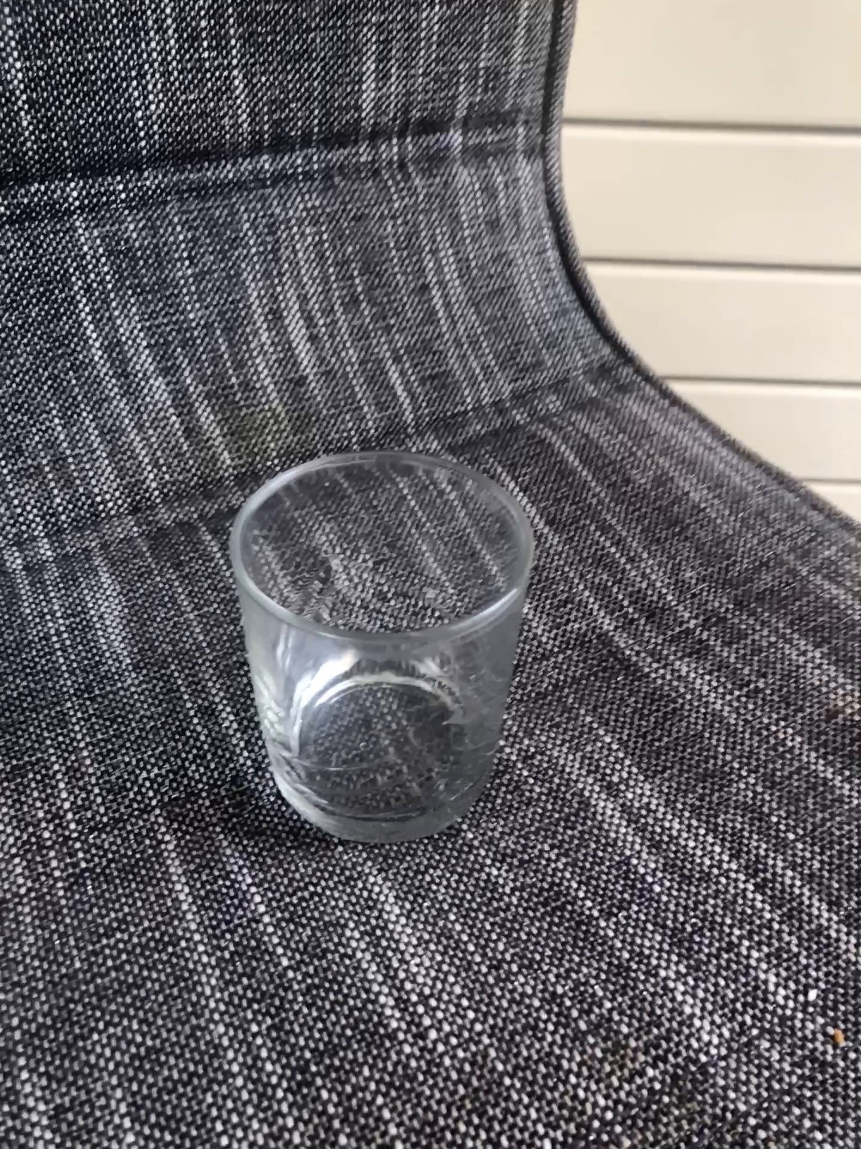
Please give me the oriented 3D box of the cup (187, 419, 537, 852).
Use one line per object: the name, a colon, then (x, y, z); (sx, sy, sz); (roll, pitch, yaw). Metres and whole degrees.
cup: (-0.013, 0.016, 0.243); (0.070, 0.079, 0.070); (1, 42, -1)
